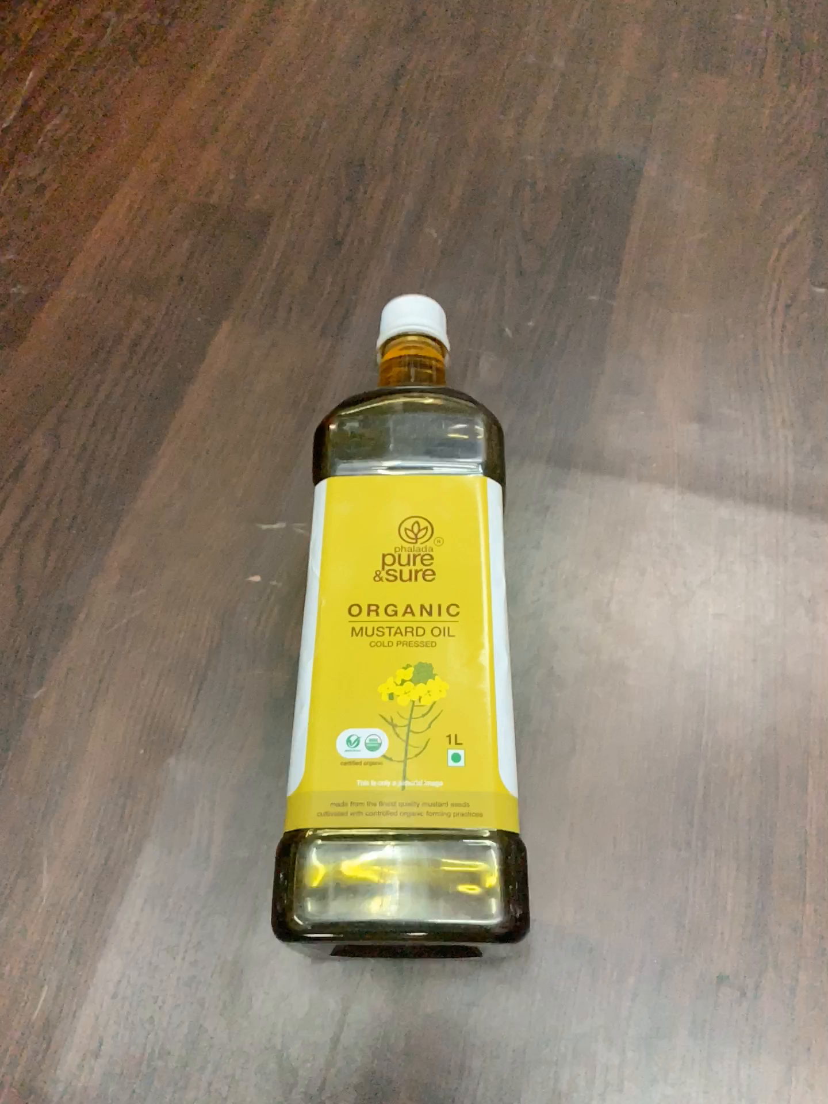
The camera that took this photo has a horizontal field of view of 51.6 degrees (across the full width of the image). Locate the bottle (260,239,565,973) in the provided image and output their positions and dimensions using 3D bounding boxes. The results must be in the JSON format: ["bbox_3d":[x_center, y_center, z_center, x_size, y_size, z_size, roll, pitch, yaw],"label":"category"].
[{"bbox_3d":[0.004,0.006,0.326,0.080,0.080,0.270,0,60,2],"label":"bottle"}]
